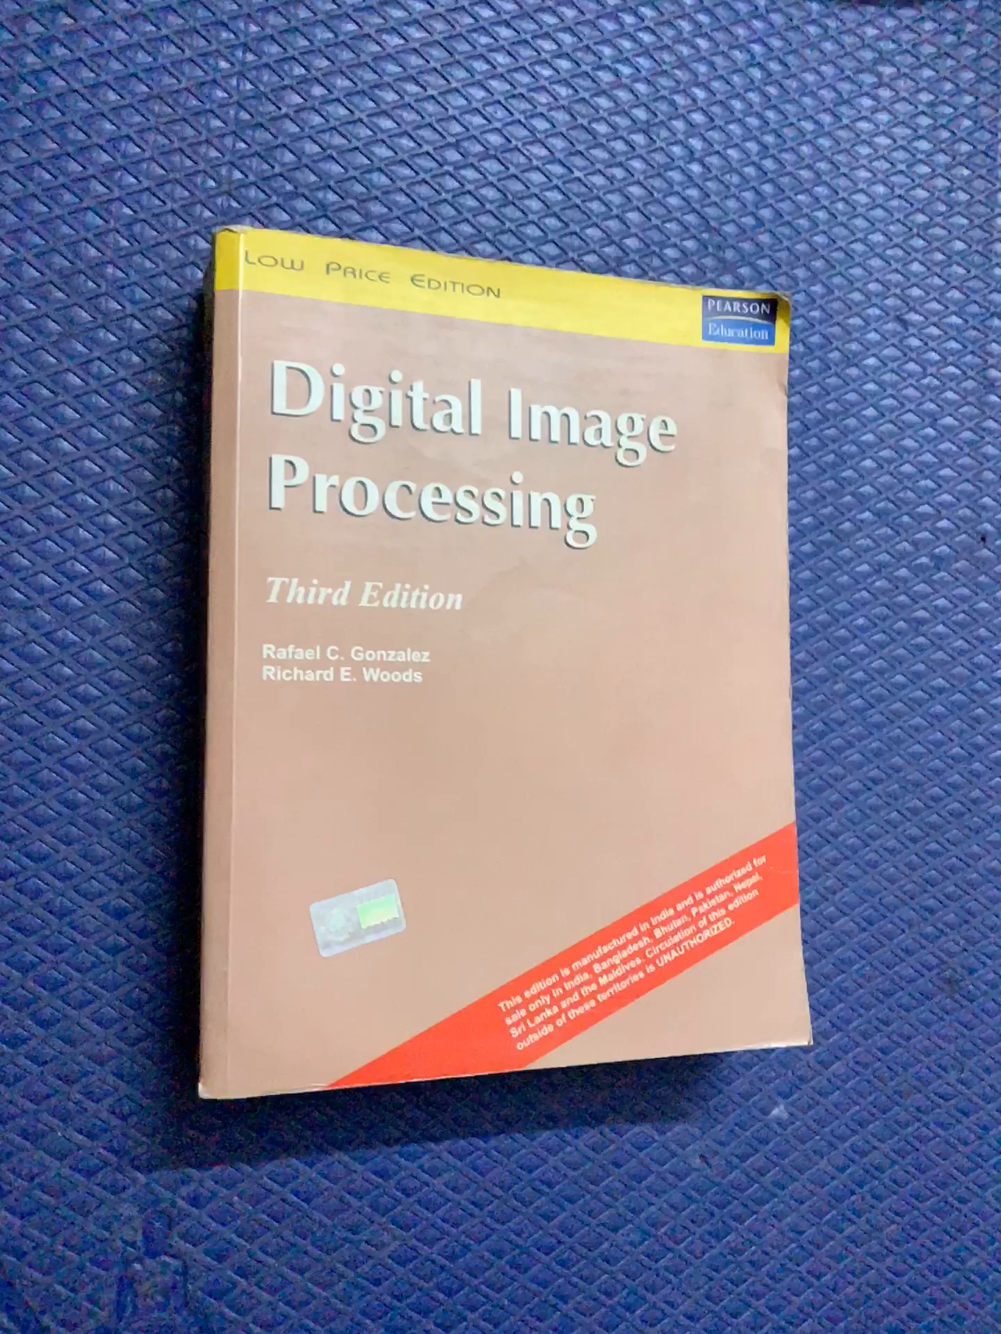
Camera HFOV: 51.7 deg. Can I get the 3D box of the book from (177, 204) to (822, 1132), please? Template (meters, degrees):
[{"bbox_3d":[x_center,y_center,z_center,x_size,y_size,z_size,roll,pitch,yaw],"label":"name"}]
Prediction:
[{"bbox_3d":[0.001,-0.001,0.299,0.175,0.045,0.225,2,84,-19],"label":"book"}]
